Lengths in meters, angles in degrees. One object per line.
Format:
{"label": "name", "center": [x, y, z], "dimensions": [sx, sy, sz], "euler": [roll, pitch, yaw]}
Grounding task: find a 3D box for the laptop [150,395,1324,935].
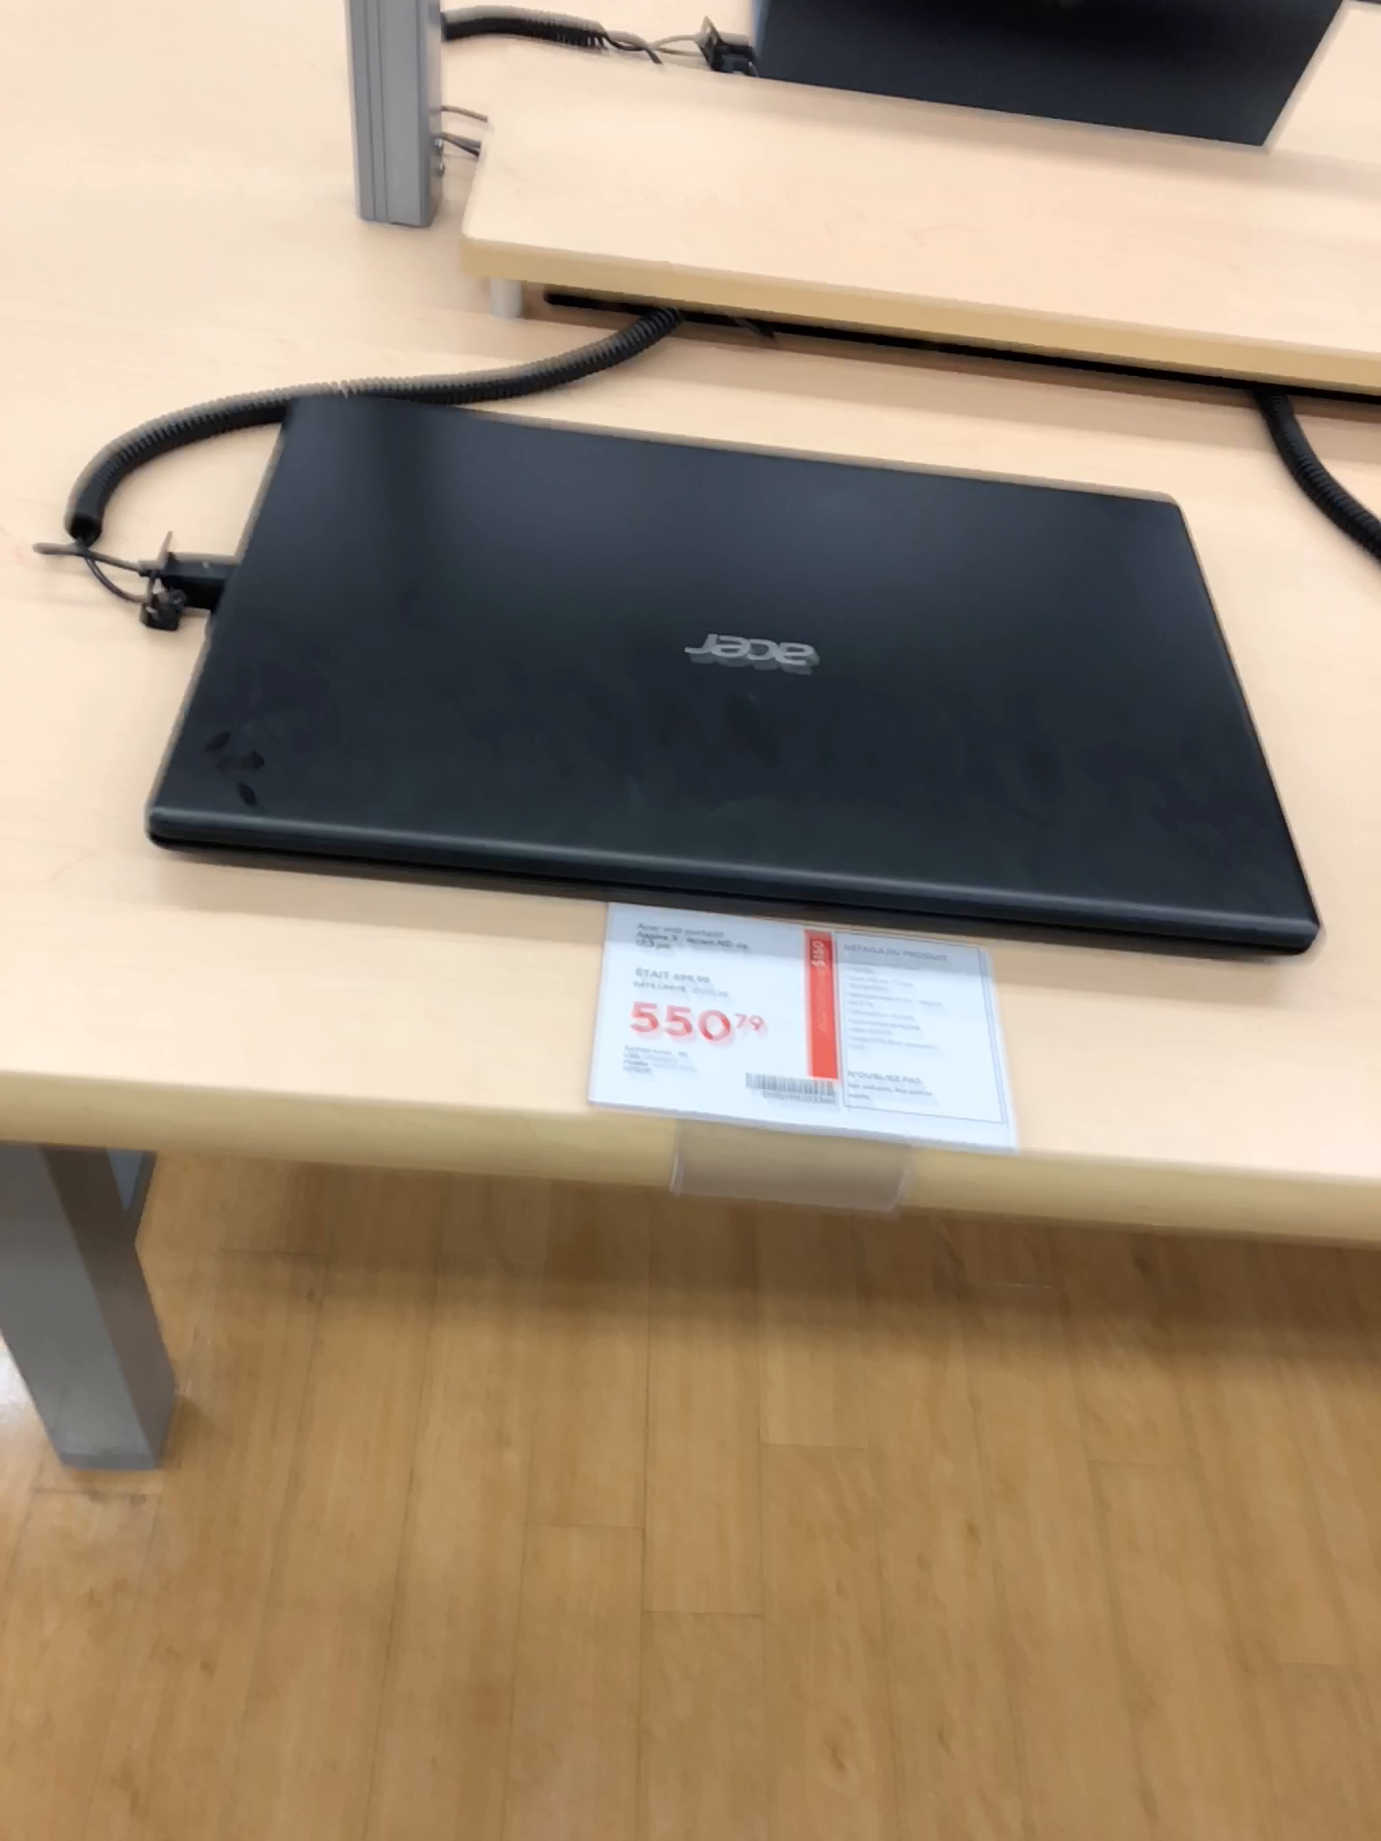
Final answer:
{"label": "laptop", "center": [0.023, -0.118, 0.620], "dimensions": [0.416, 0.001, 0.268], "euler": [6, 49, -4]}
